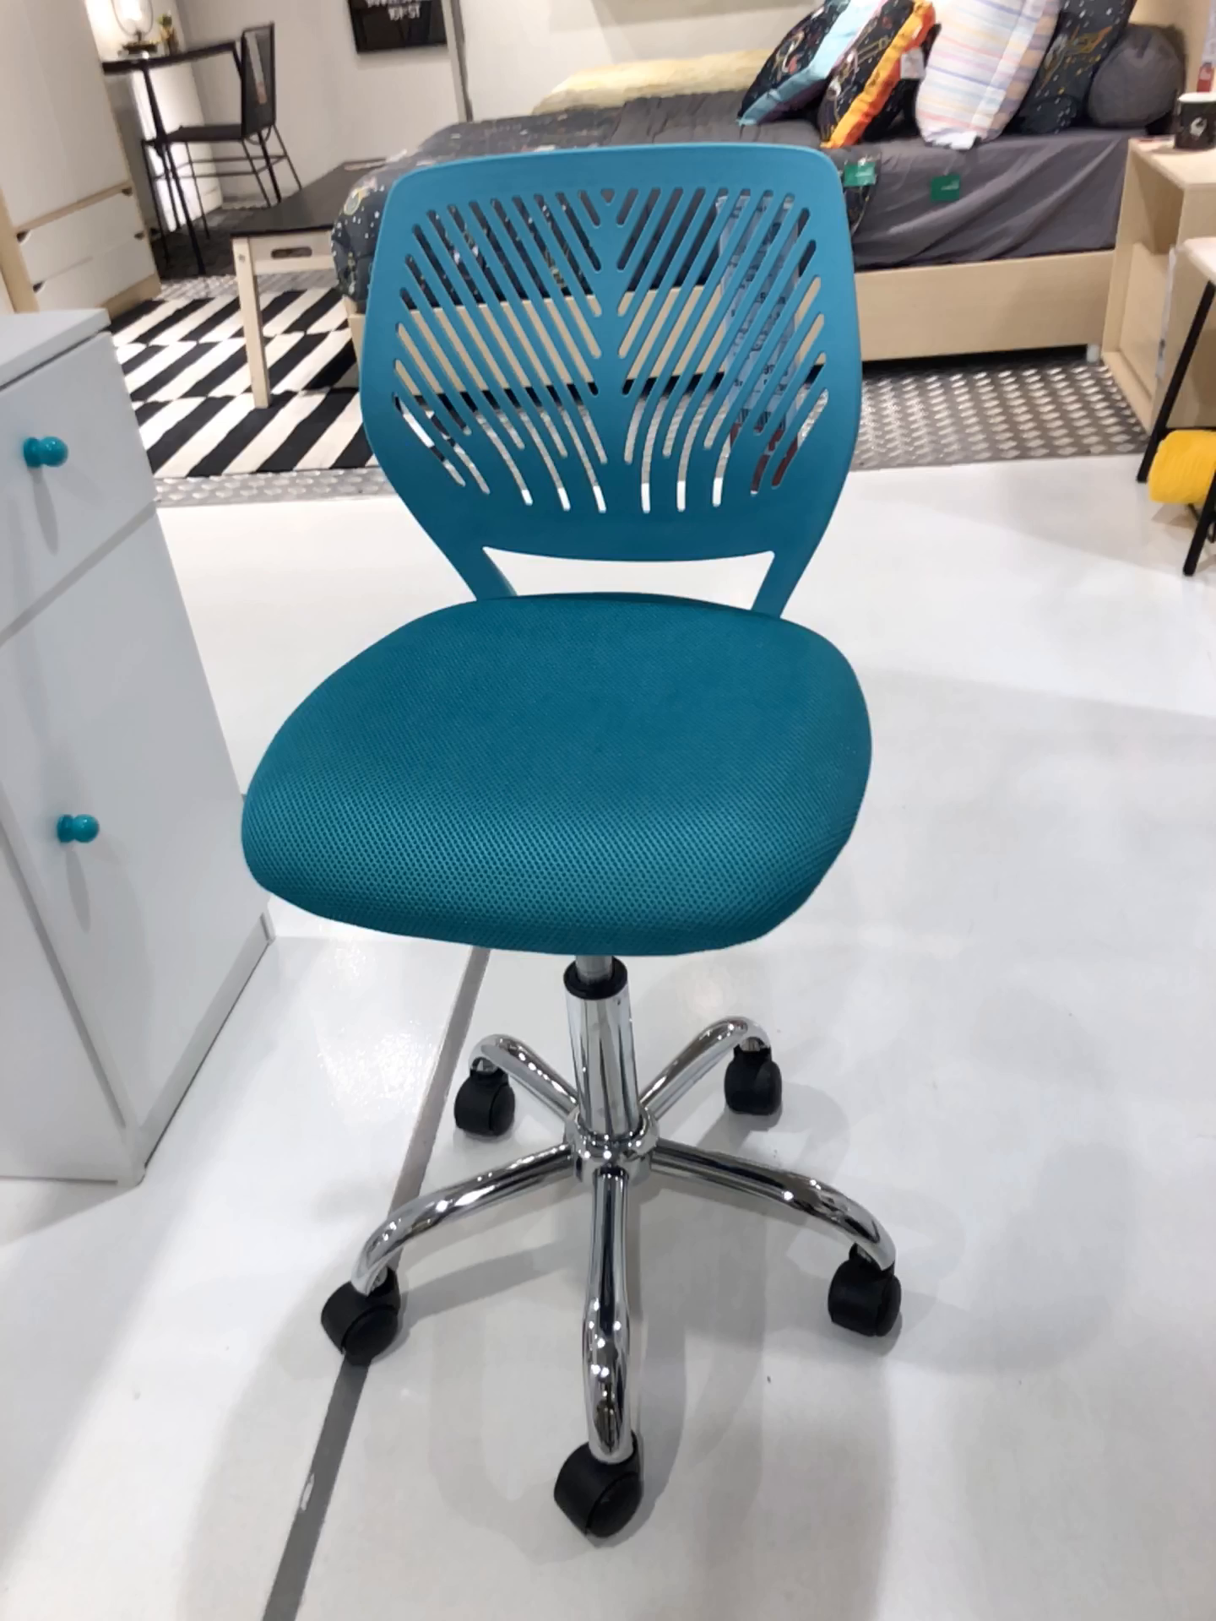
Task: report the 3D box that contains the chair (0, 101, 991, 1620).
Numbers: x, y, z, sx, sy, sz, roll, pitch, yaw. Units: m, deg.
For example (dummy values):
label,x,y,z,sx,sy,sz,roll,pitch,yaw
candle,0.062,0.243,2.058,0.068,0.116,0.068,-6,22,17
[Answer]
label,x,y,z,sx,sy,sz,roll,pitch,yaw
chair,-0.017,0.021,0.906,0.480,0.804,0.534,3,34,15
